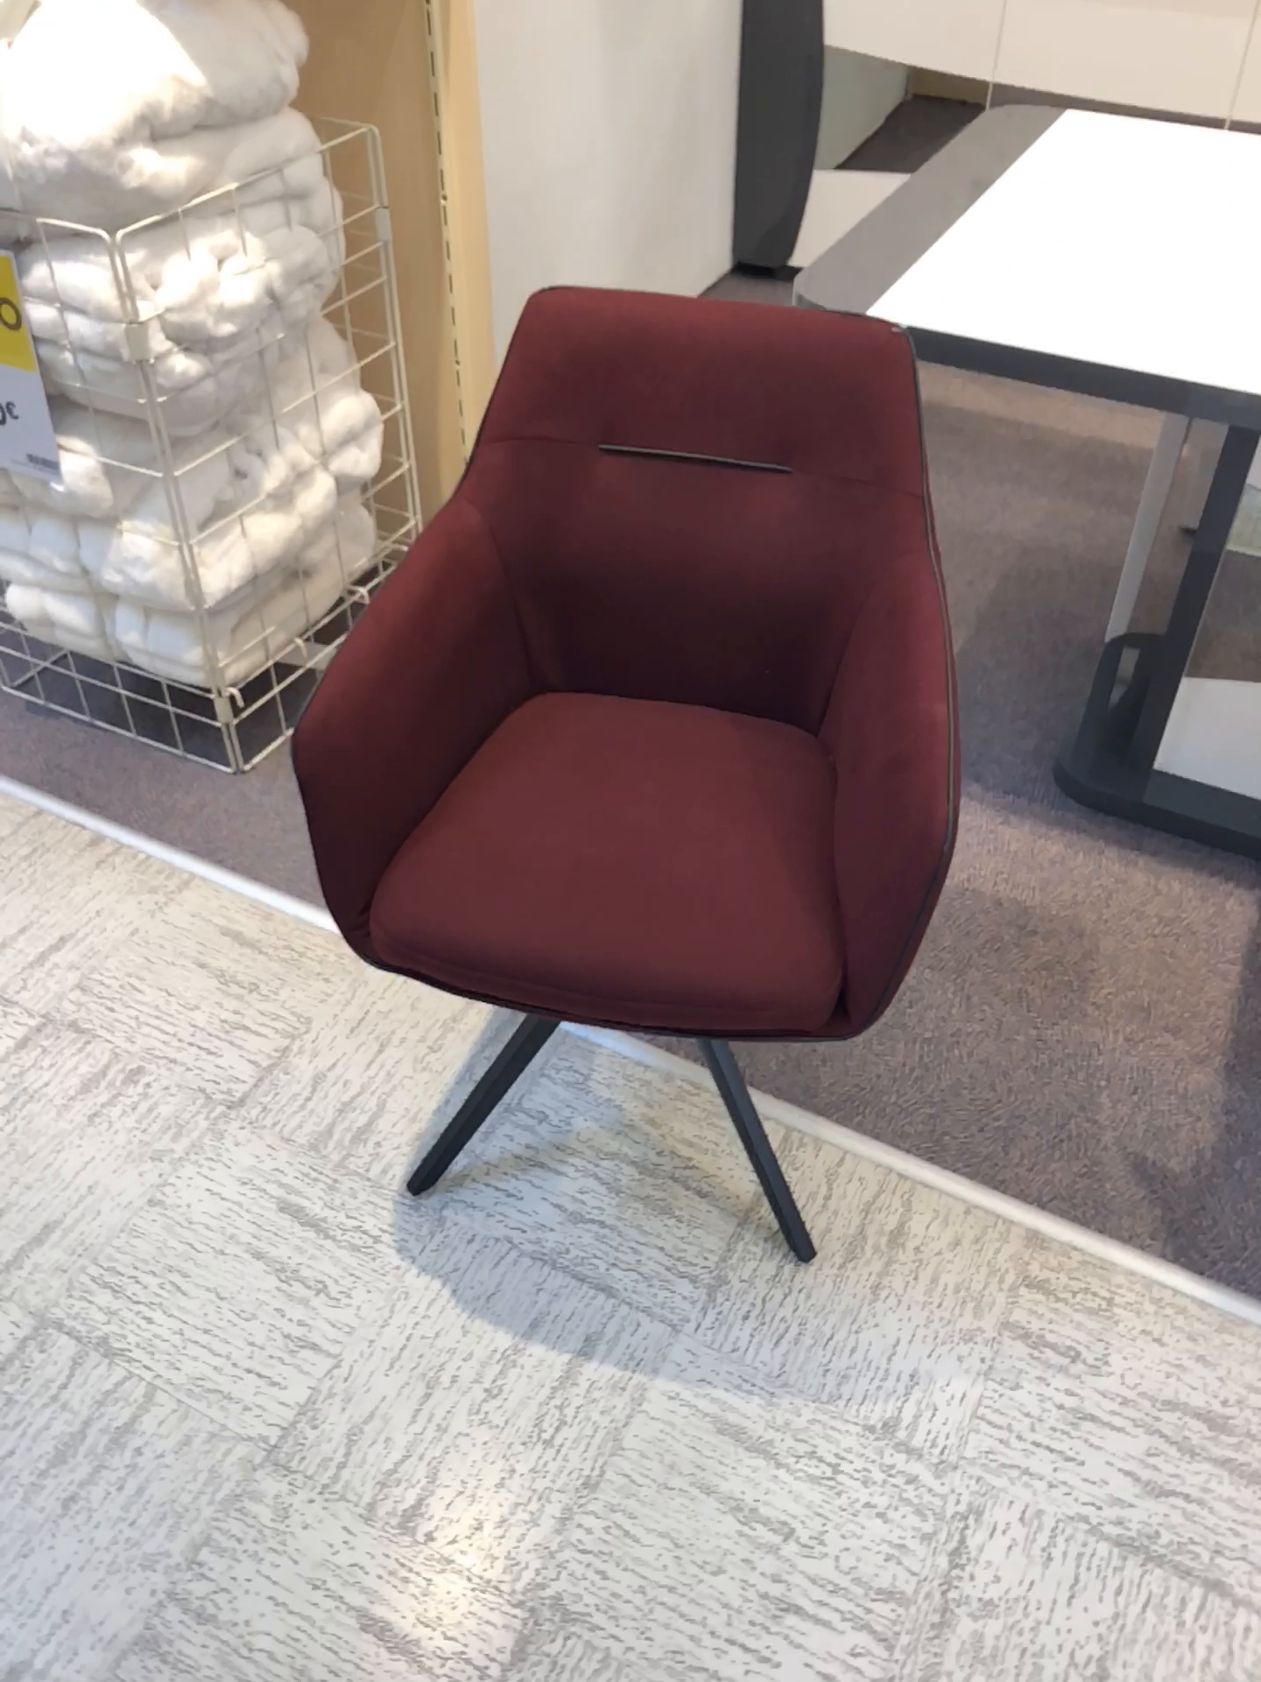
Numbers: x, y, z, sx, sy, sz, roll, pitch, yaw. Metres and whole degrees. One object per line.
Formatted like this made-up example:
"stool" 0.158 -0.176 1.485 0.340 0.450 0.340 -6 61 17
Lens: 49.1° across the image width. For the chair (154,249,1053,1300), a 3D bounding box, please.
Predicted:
"chair" 0.027 -0.065 1.322 0.580 0.736 0.574 8 43 9
